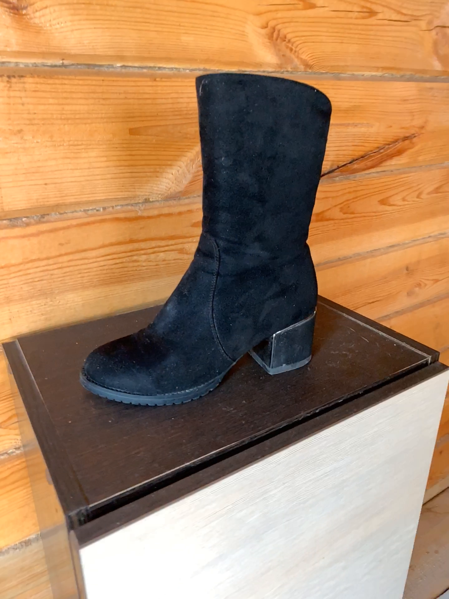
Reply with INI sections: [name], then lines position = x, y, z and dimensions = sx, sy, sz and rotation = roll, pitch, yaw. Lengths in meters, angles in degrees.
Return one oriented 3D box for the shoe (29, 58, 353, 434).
[shoe]
position = -0.023, -0.054, 0.407
dimensions = 0.233, 0.268, 0.101
rotation = -11, 24, -24
